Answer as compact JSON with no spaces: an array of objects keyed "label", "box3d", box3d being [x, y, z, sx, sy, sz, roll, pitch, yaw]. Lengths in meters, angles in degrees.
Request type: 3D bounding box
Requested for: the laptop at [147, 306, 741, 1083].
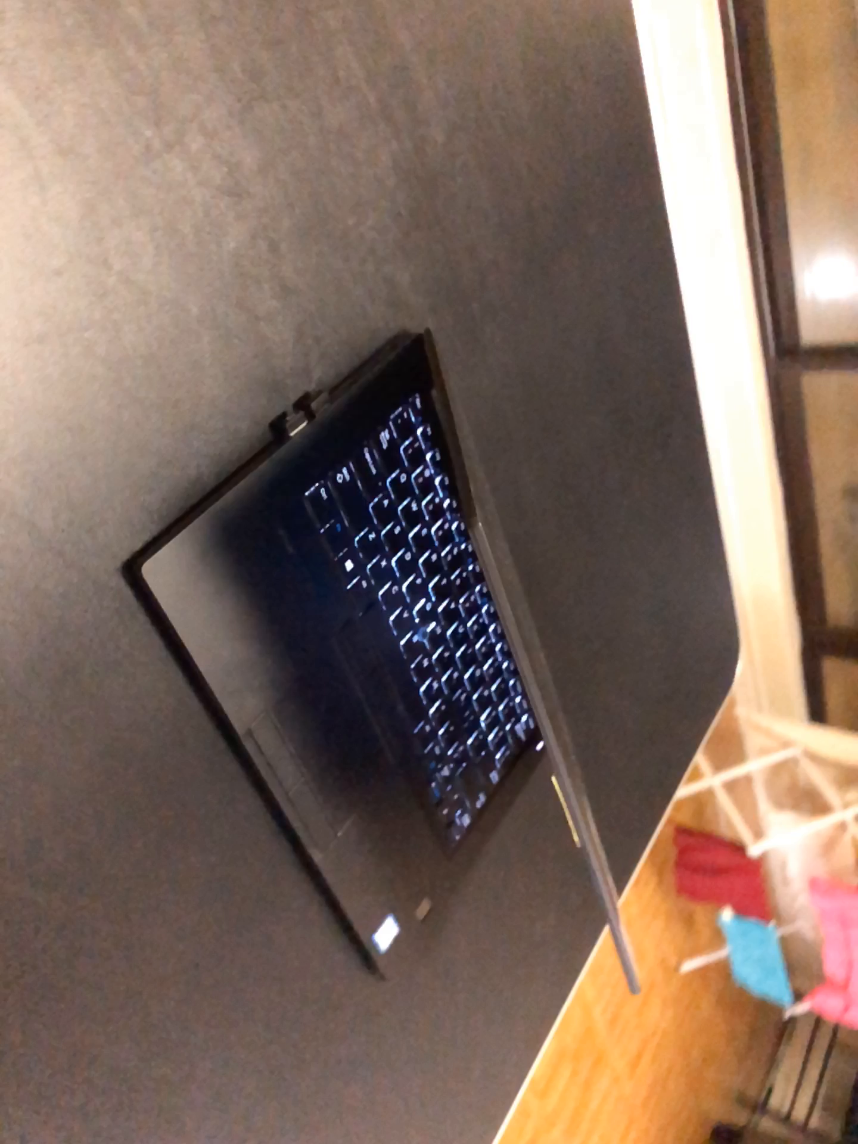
[{"label":"laptop","box3d":[0.041,0.062,0.515,0.220,0.142,0.319,-49,131,-36]}]
